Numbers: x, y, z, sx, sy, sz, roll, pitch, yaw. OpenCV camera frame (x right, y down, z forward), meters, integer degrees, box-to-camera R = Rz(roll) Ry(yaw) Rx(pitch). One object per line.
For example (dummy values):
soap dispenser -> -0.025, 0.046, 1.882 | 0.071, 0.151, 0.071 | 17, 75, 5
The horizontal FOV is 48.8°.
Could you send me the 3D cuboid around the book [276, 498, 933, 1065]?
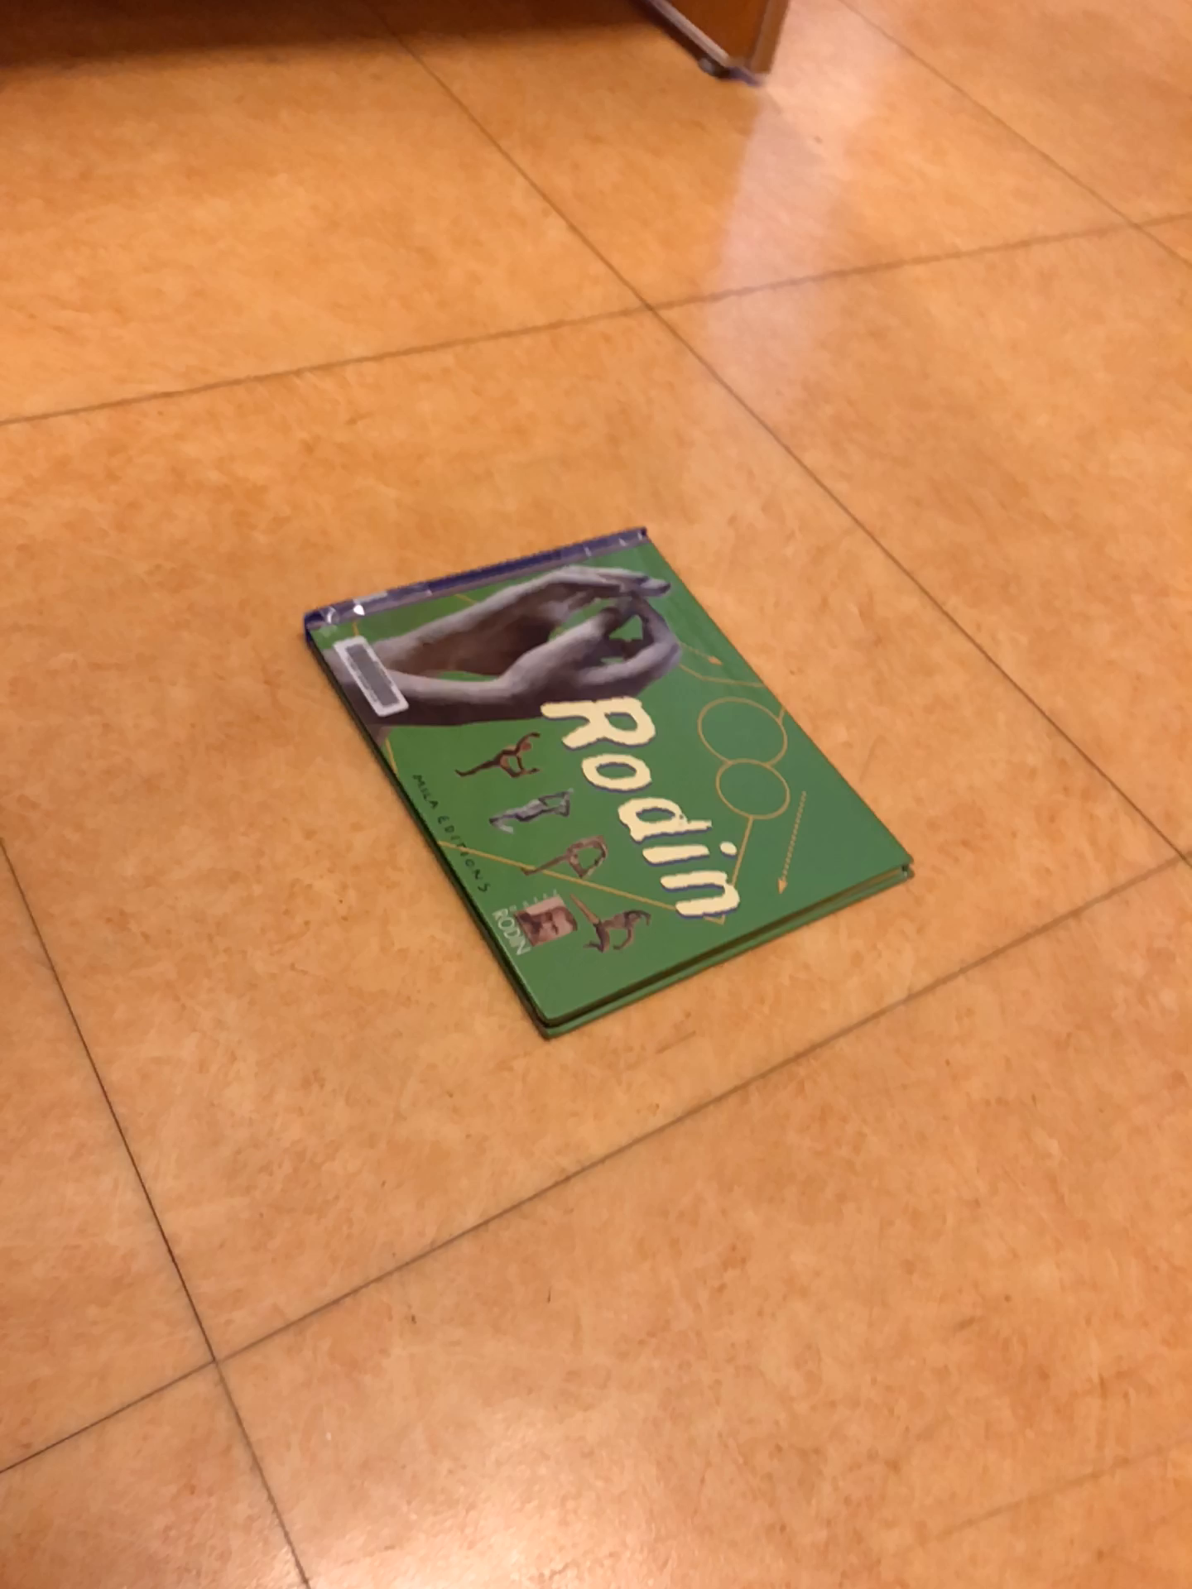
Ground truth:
book -> -0.001, -0.025, 0.594 | 0.201, 0.030, 0.244 | -20, 60, -27
